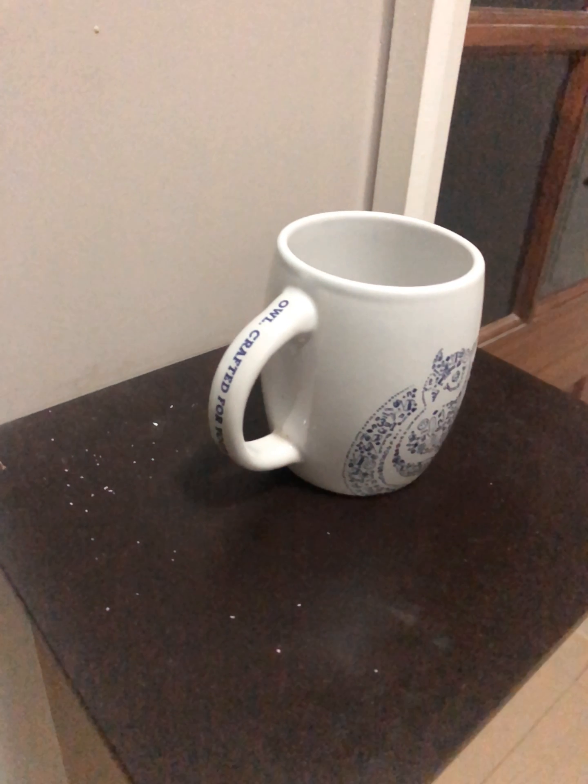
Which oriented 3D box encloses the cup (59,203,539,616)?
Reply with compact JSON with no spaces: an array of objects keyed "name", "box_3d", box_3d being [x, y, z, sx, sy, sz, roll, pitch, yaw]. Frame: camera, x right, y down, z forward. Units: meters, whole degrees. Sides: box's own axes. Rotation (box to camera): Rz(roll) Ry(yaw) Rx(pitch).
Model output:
[{"name":"cup","box_3d":[0.002,-0.009,0.243,0.131,0.079,0.100,-22,39,-35]}]
